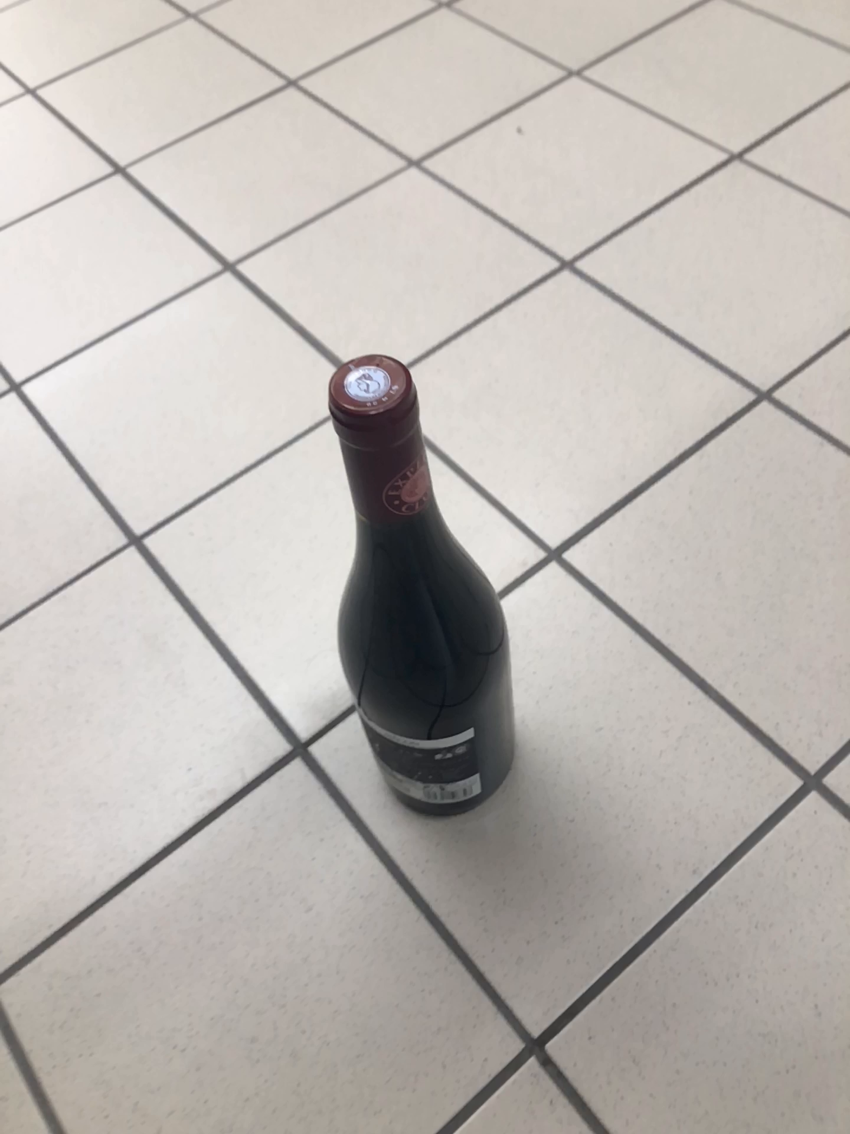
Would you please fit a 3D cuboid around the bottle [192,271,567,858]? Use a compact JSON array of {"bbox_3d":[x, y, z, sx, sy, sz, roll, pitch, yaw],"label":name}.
[{"bbox_3d":[0.002,0.024,0.416,0.090,0.289,0.090,-3,55,5],"label":"bottle"}]
